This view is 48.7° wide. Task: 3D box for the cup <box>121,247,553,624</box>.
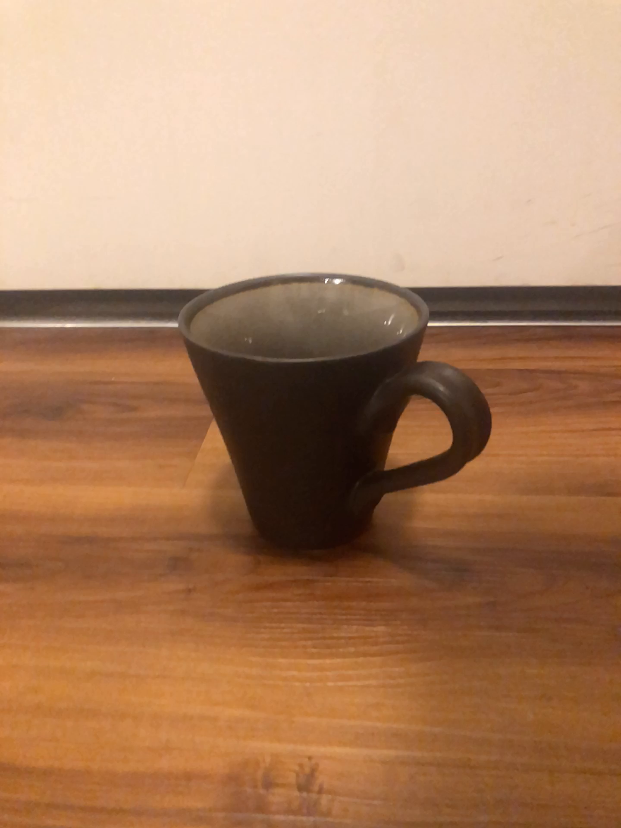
[{"bbox_3d":[0.010,-0.006,0.327,0.154,0.100,0.115,22,36,38],"label":"cup"}]
